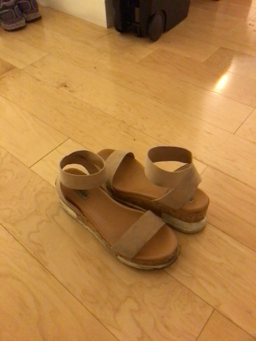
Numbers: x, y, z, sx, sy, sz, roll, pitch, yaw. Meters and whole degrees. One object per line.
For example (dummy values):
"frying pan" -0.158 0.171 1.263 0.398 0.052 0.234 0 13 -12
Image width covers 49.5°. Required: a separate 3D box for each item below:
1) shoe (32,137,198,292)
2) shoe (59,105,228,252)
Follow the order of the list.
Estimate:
"shoe" -0.026 0.070 0.484 0.250 0.139 0.101 29 57 25
"shoe" 0.019 0.007 0.537 0.290 0.139 0.101 29 57 25
